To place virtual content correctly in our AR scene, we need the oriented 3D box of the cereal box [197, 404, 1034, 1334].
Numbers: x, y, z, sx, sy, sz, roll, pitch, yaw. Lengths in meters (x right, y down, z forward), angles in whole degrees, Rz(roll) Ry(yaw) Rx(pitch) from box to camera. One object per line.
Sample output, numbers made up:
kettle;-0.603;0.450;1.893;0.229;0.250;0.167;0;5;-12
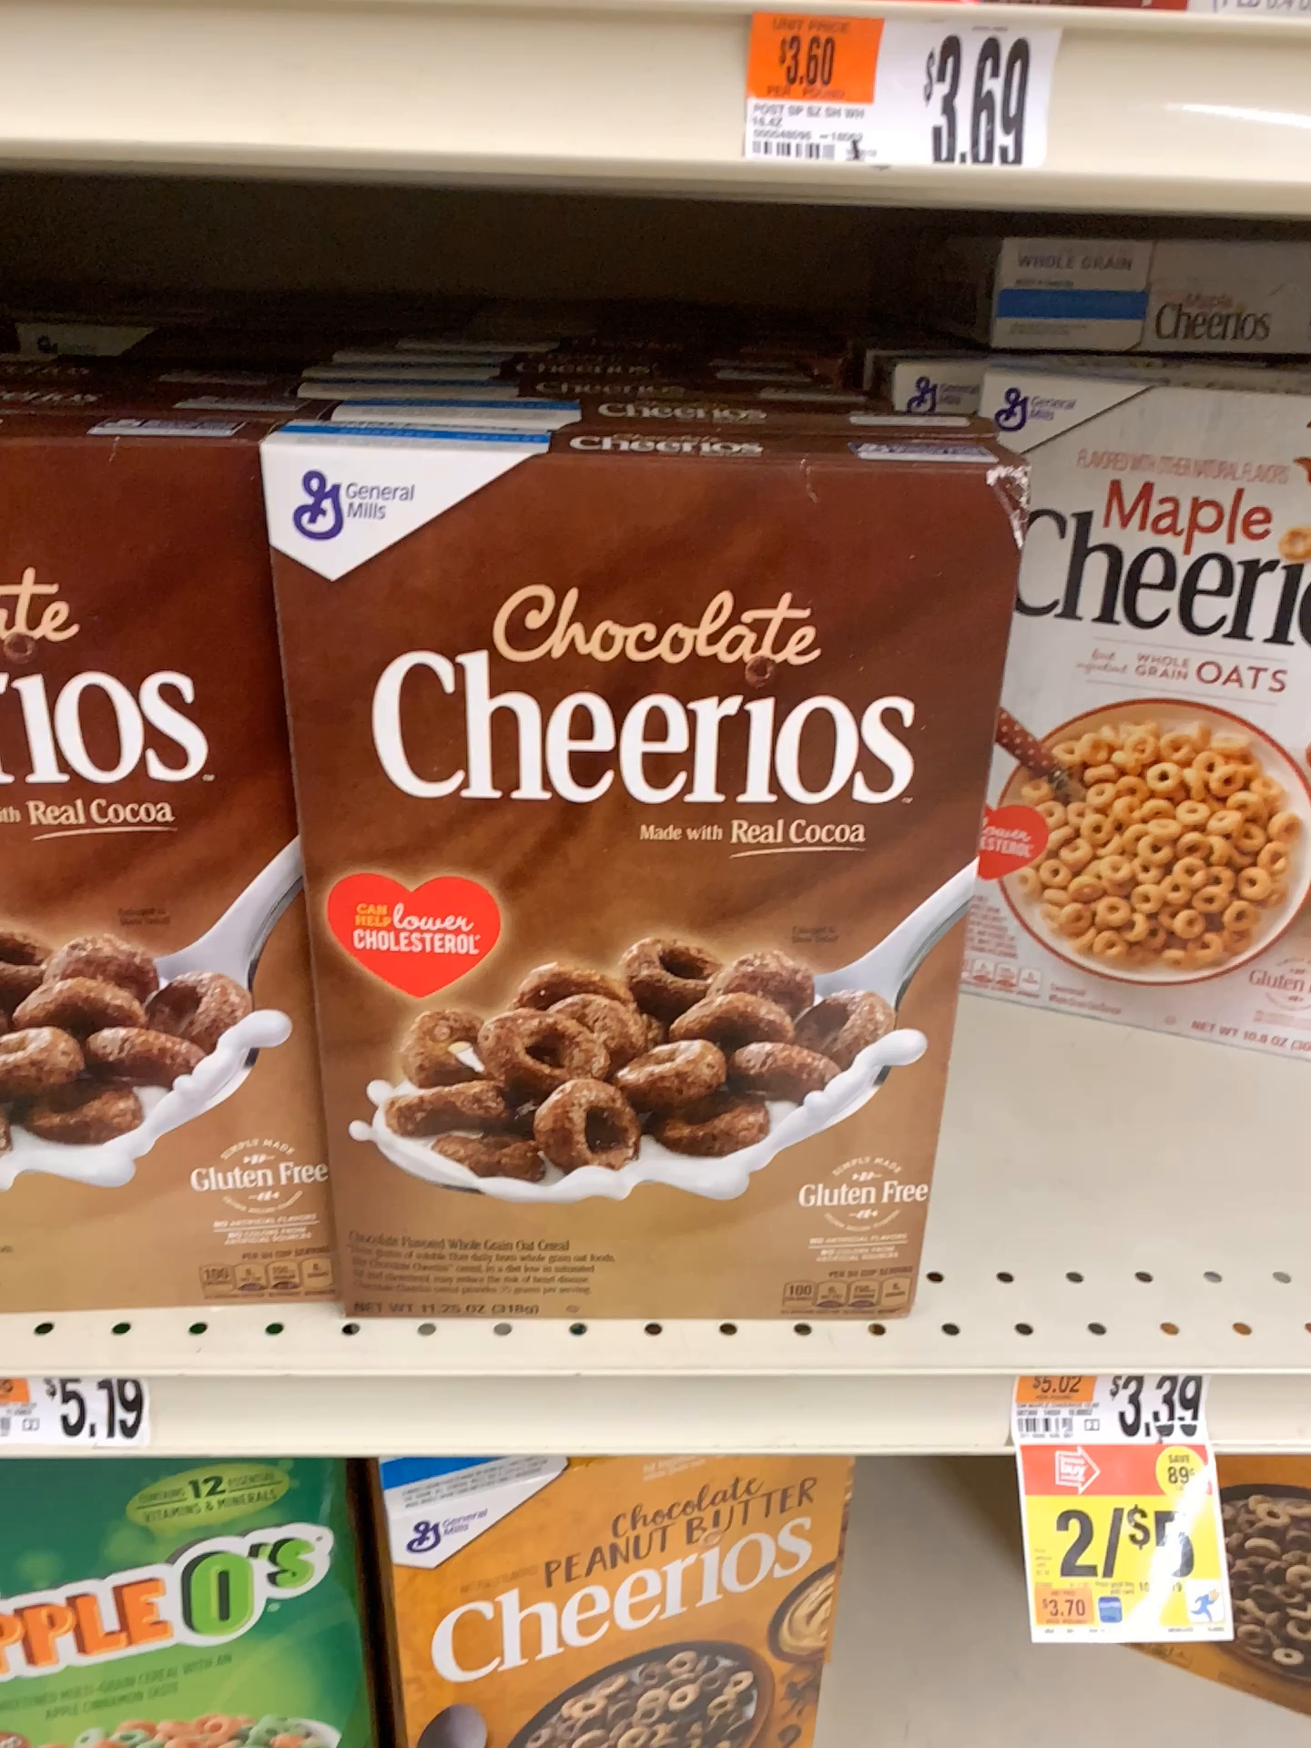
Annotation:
cereal box;-0.014;0.013;0.432;0.210;0.298;0.060;1;27;-1
